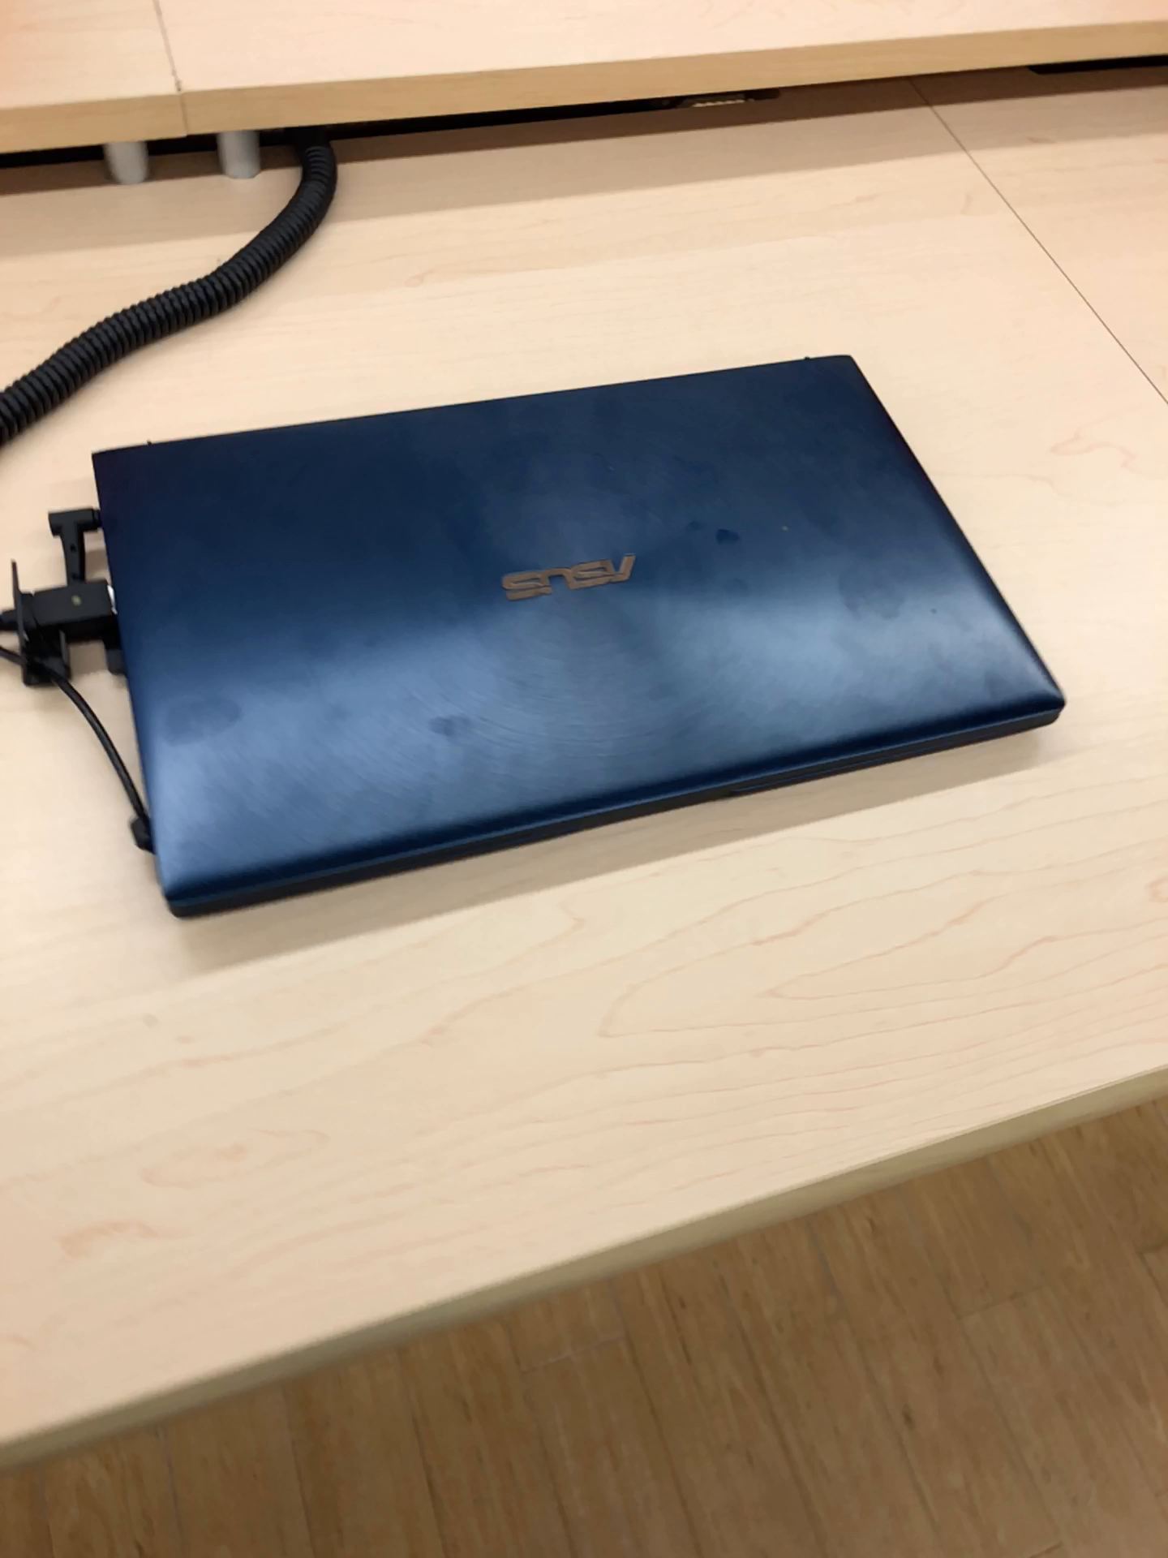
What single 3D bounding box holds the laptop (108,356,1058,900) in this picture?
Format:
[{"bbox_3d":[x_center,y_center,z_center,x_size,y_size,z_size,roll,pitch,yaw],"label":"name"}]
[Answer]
[{"bbox_3d":[-0.003,-0.069,0.450,0.295,0.001,0.178,-12,60,-14],"label":"laptop"}]
